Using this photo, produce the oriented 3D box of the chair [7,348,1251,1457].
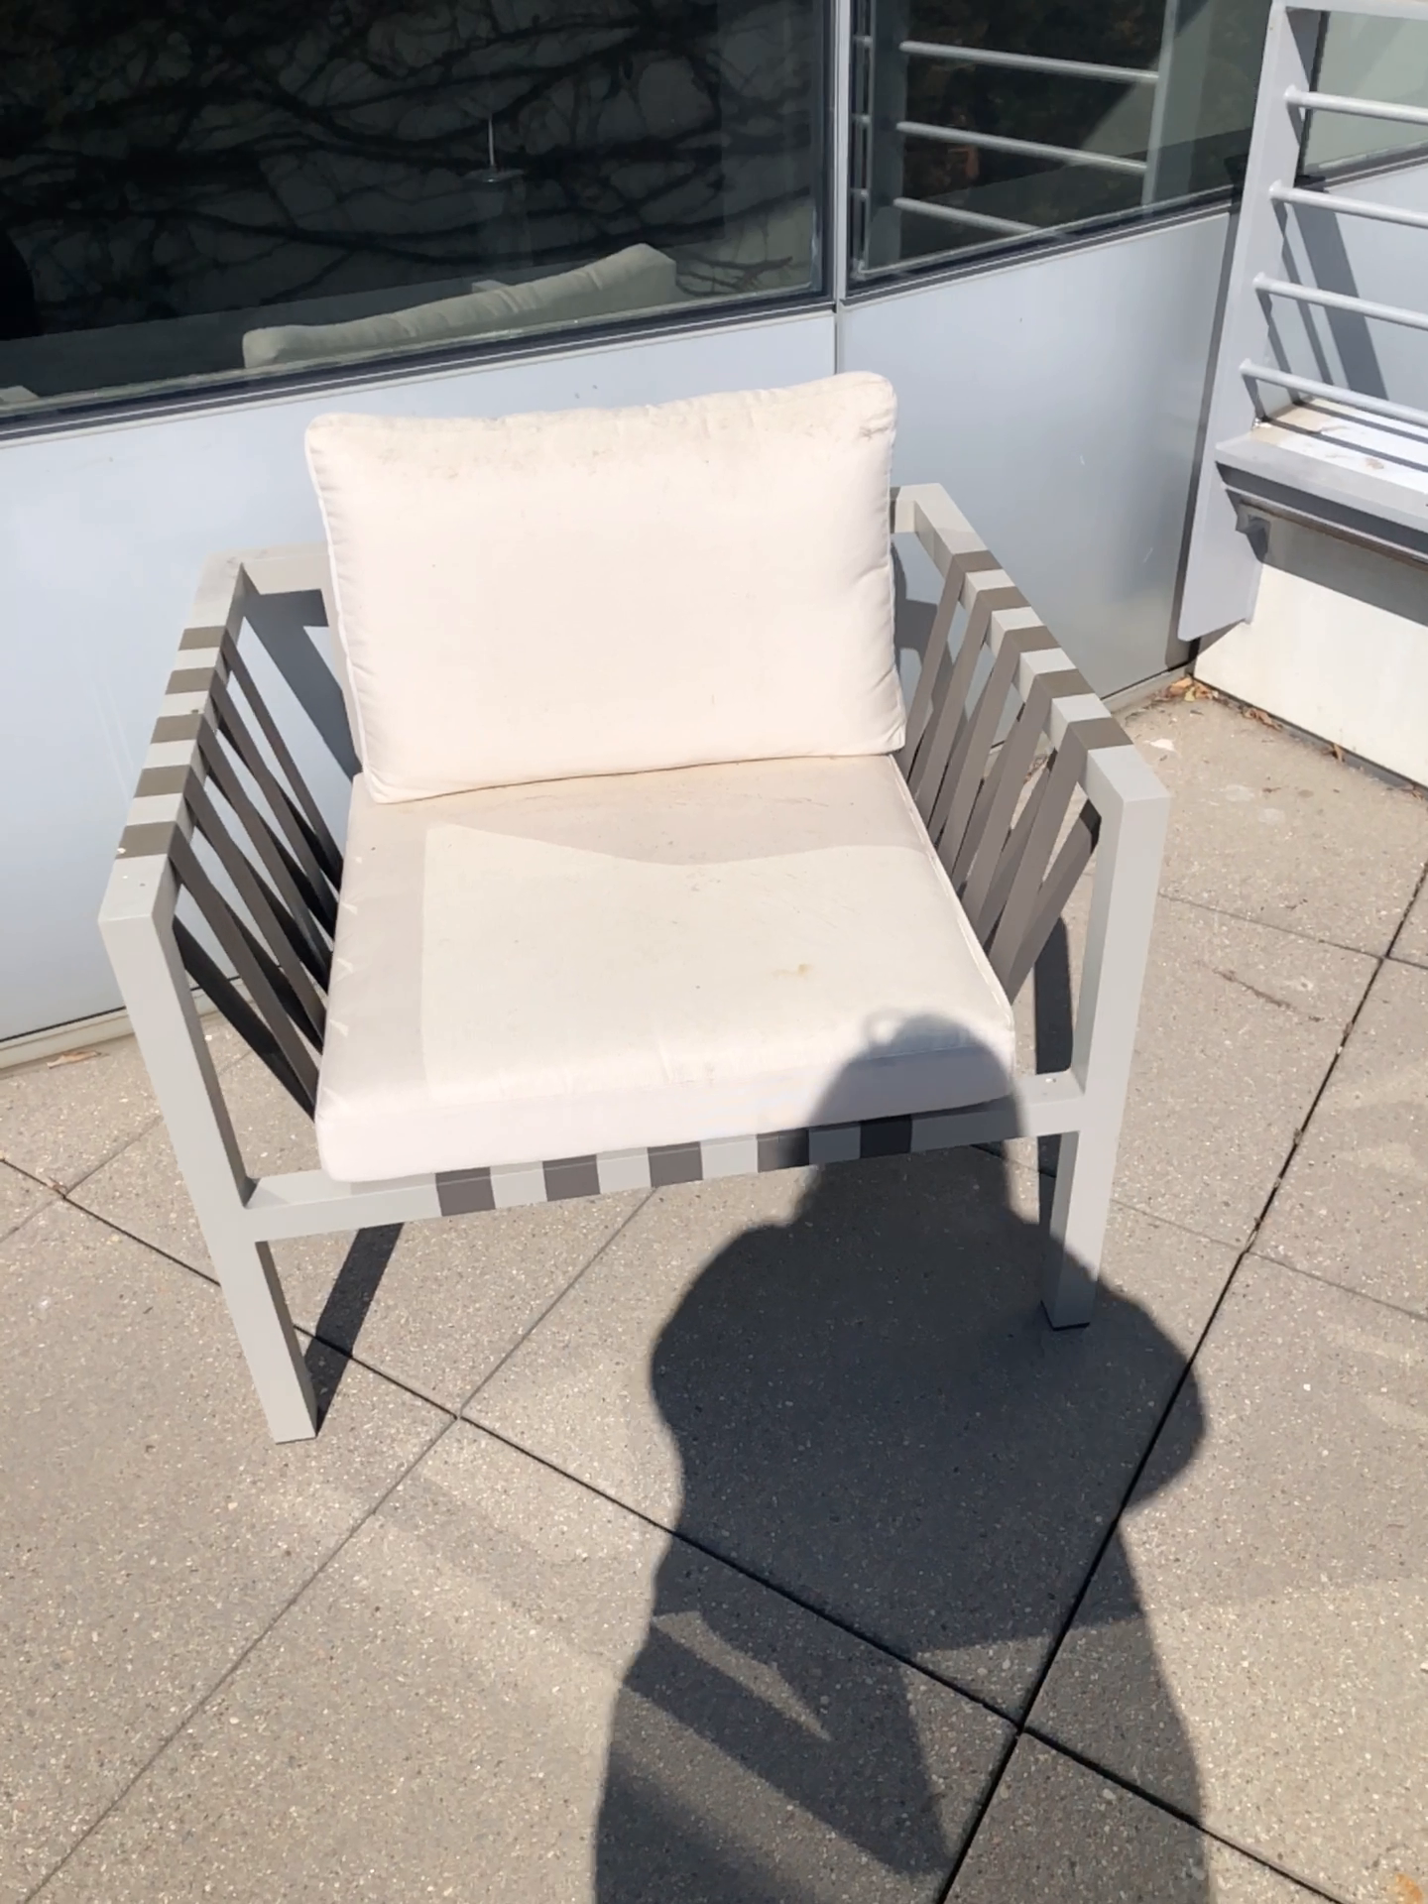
[{"bbox_3d":[-0.087,-0.102,1.624,0.870,0.736,0.784,-7,36,-6],"label":"chair"}]
